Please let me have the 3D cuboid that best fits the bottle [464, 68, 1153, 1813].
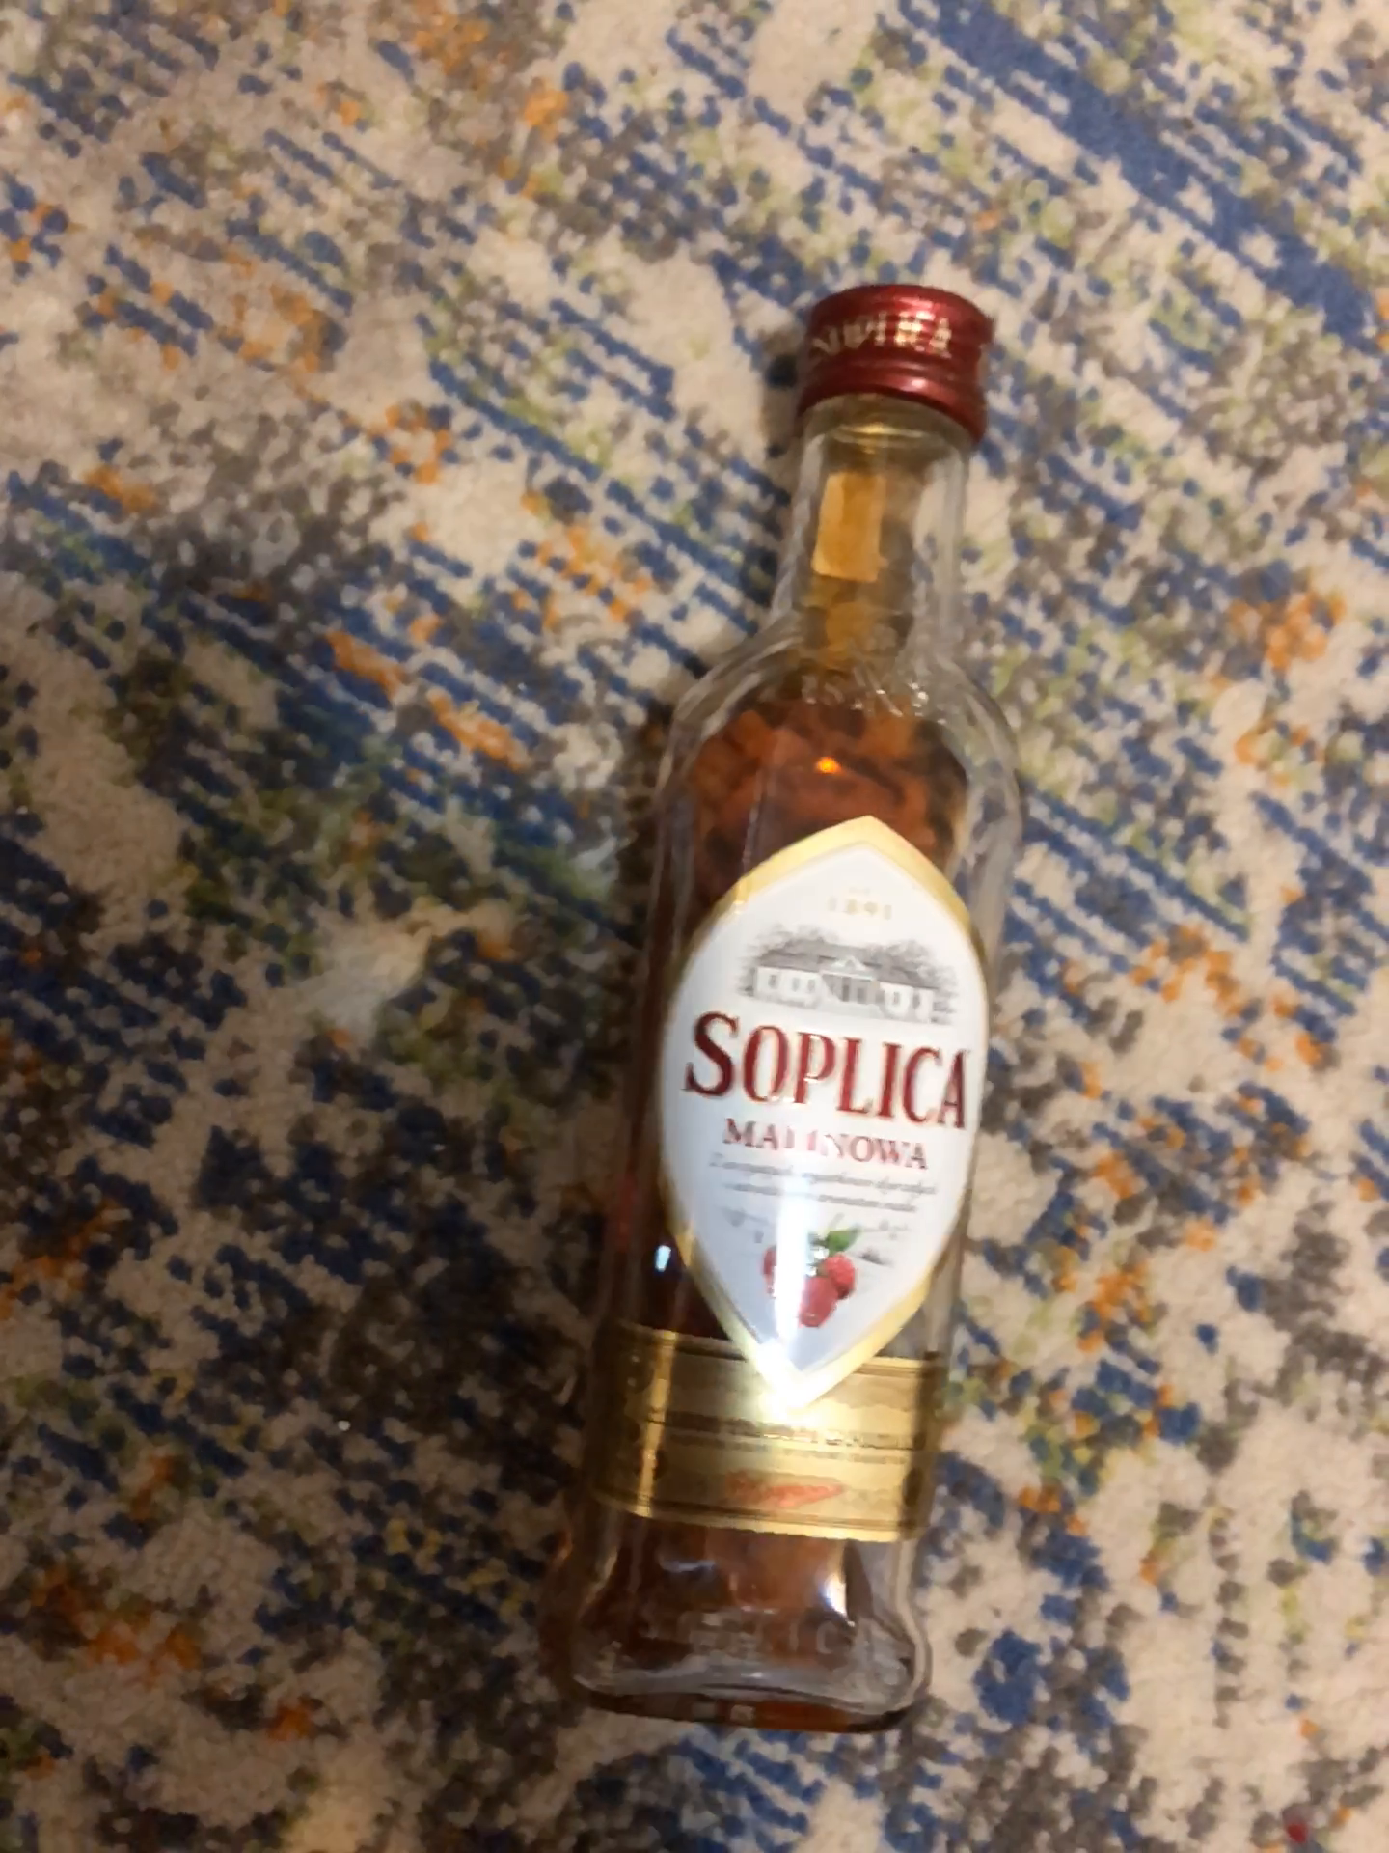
[{"bbox_3d":[0.014,0.000,0.213,0.060,0.040,0.210,8,85,-7],"label":"bottle"}]
